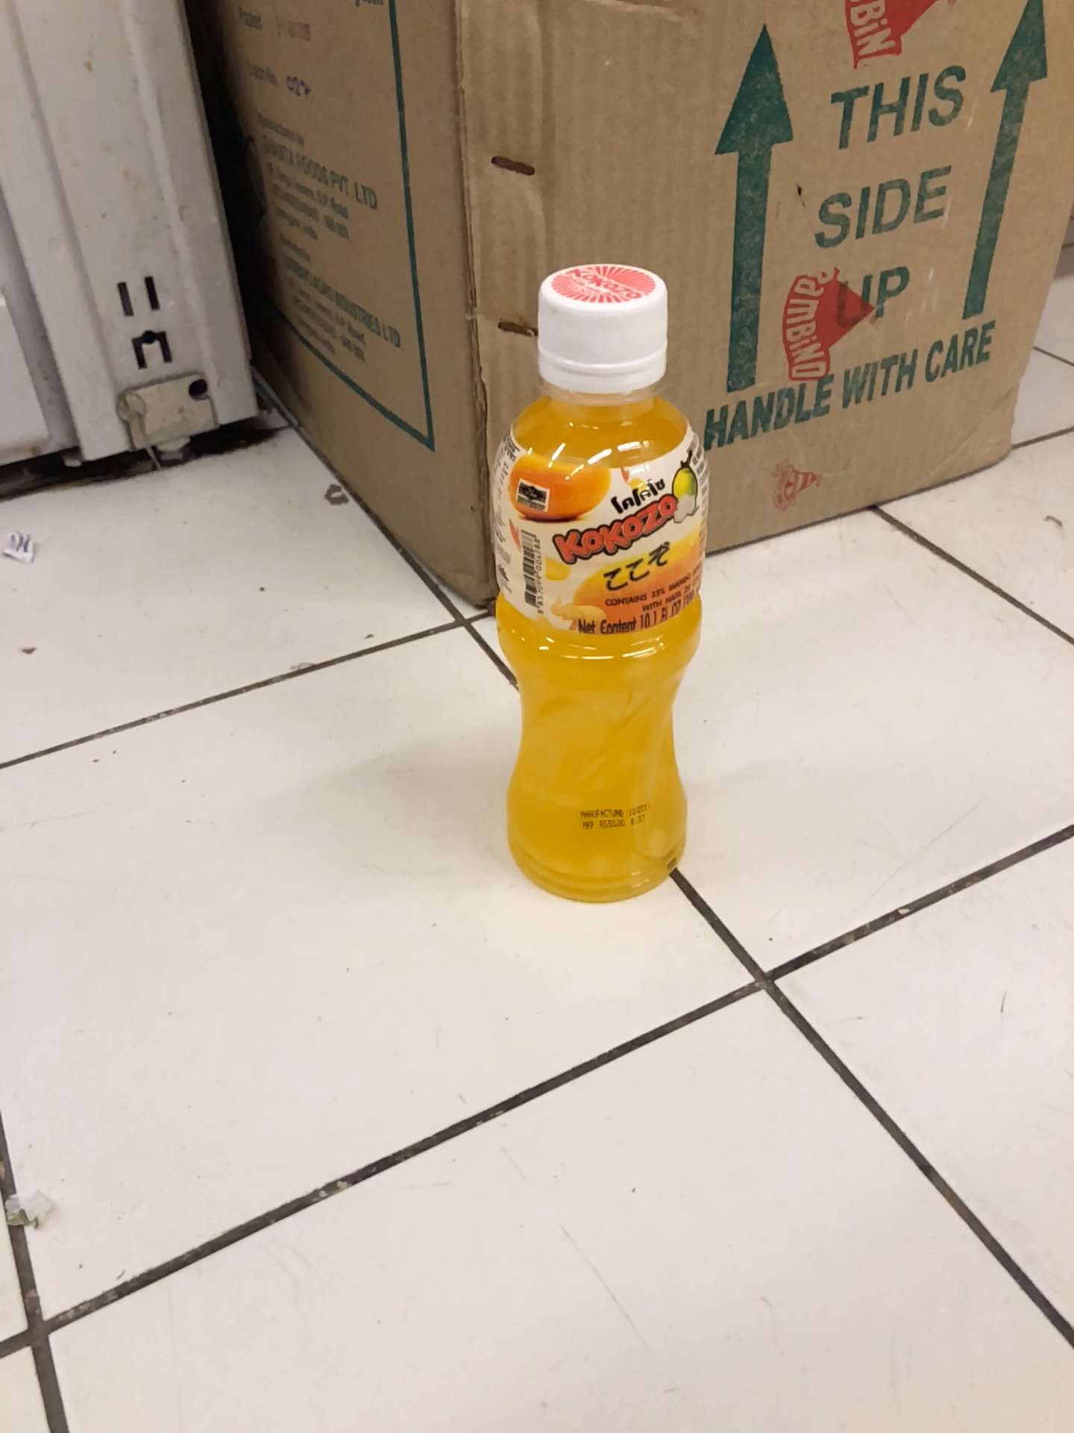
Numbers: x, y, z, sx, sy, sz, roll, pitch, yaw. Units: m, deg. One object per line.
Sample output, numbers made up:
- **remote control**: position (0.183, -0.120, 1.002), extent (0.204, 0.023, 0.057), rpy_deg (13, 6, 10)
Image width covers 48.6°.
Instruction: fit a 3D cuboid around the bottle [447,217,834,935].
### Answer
- **bottle**: position (0.023, -0.032, 0.332), extent (0.070, 0.179, 0.070), rpy_deg (-1, 39, 1)
